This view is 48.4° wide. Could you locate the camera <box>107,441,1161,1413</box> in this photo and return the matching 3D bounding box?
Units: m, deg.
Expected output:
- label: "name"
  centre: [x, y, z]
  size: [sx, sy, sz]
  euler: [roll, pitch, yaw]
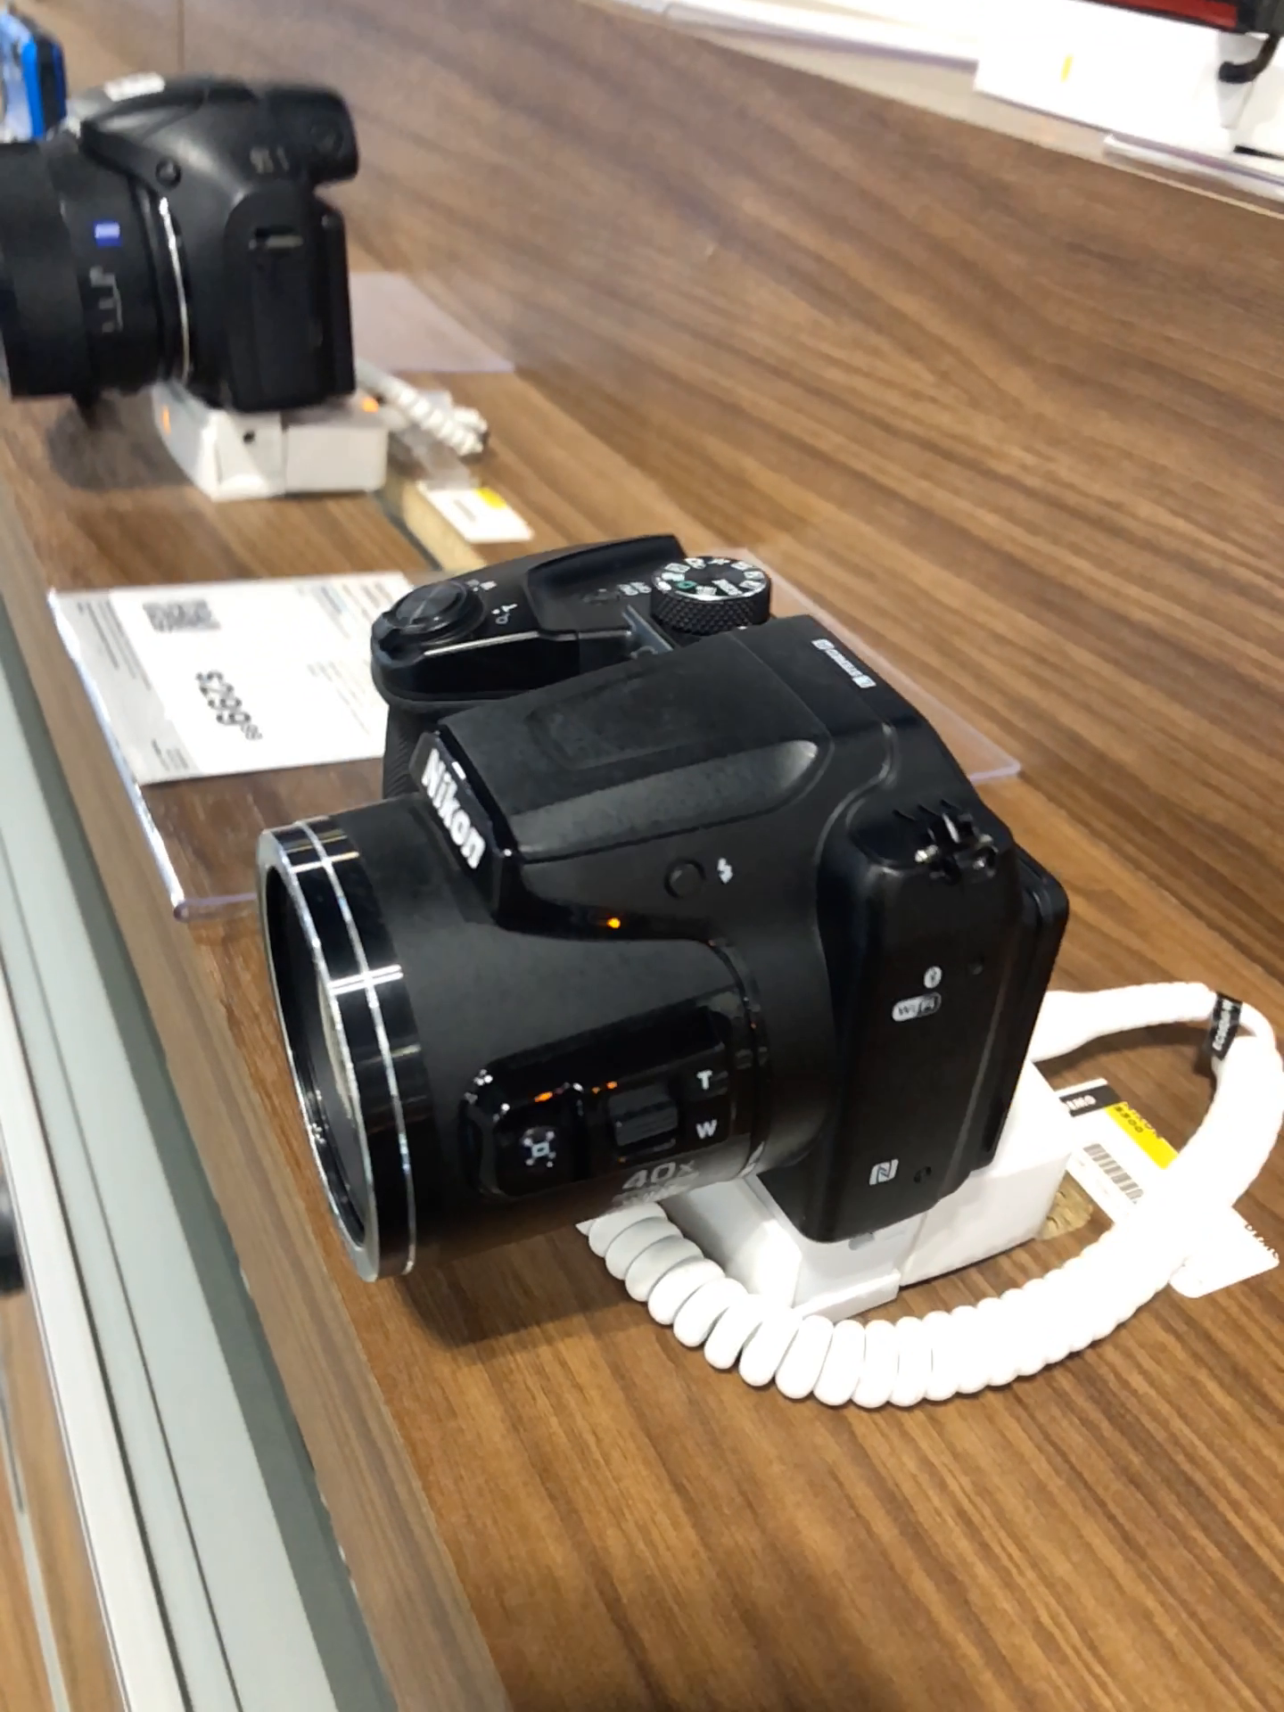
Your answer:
- label: "camera"
  centre: [-0.015, -0.006, 0.219]
  size: [0.100, 0.070, 0.131]
  euler: [-9, 38, -28]
